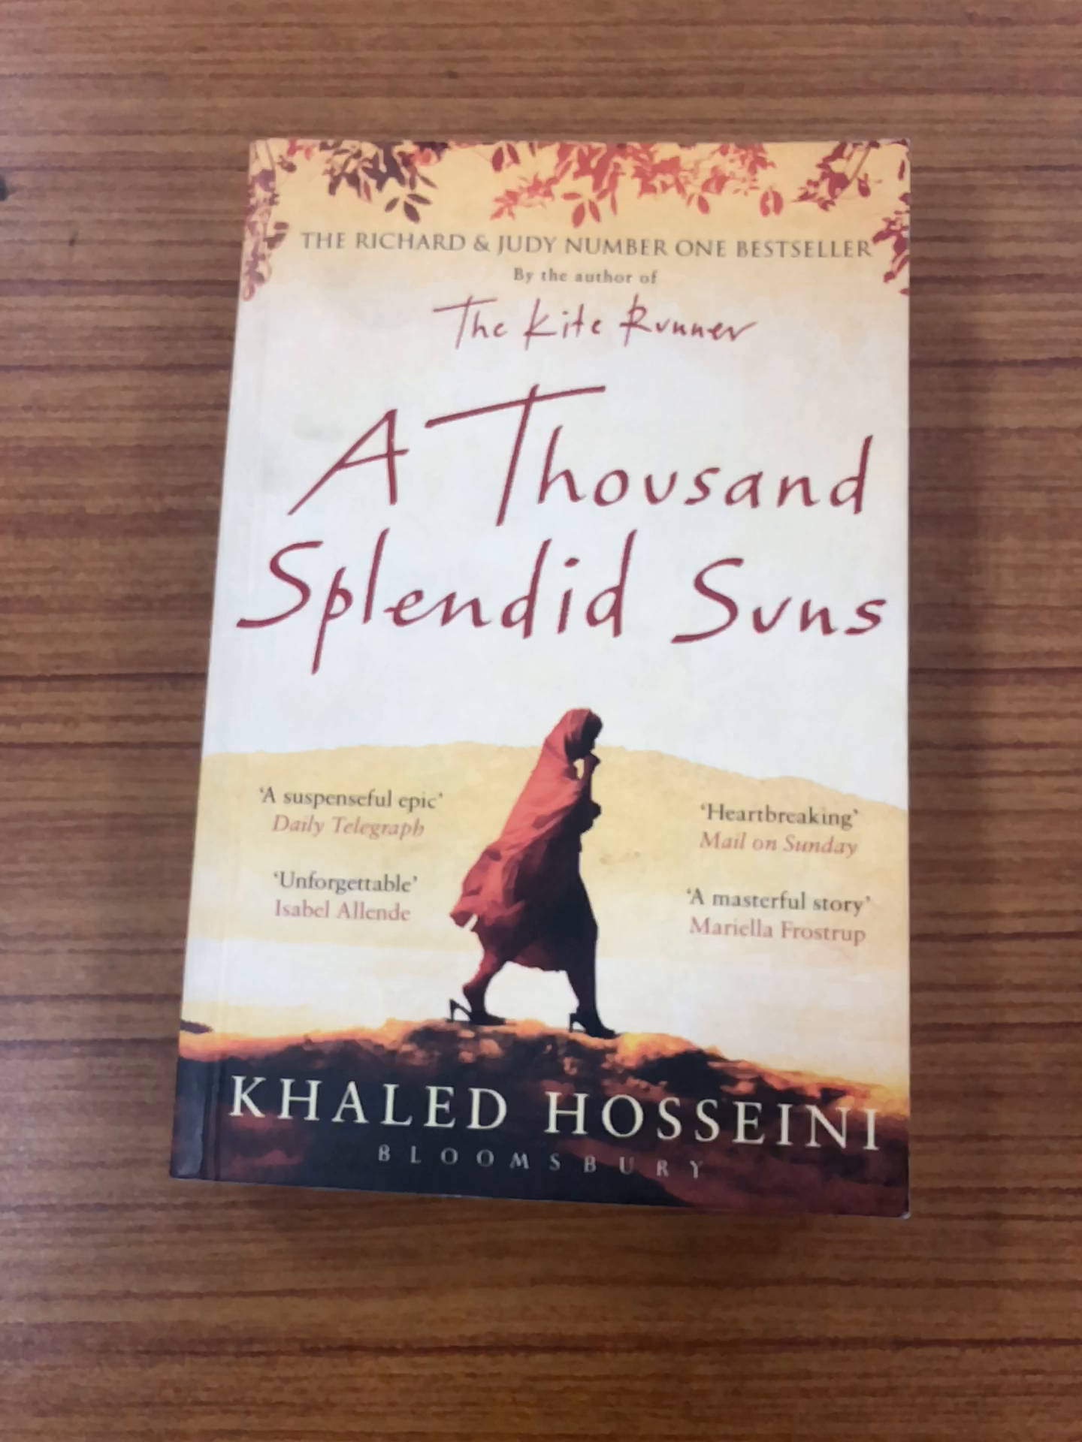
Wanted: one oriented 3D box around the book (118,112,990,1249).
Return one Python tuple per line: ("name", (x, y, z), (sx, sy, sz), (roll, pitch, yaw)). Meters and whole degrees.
("book", (0.006, -0.011, 0.222), (0.140, 0.030, 0.190), (2, 83, 2))
